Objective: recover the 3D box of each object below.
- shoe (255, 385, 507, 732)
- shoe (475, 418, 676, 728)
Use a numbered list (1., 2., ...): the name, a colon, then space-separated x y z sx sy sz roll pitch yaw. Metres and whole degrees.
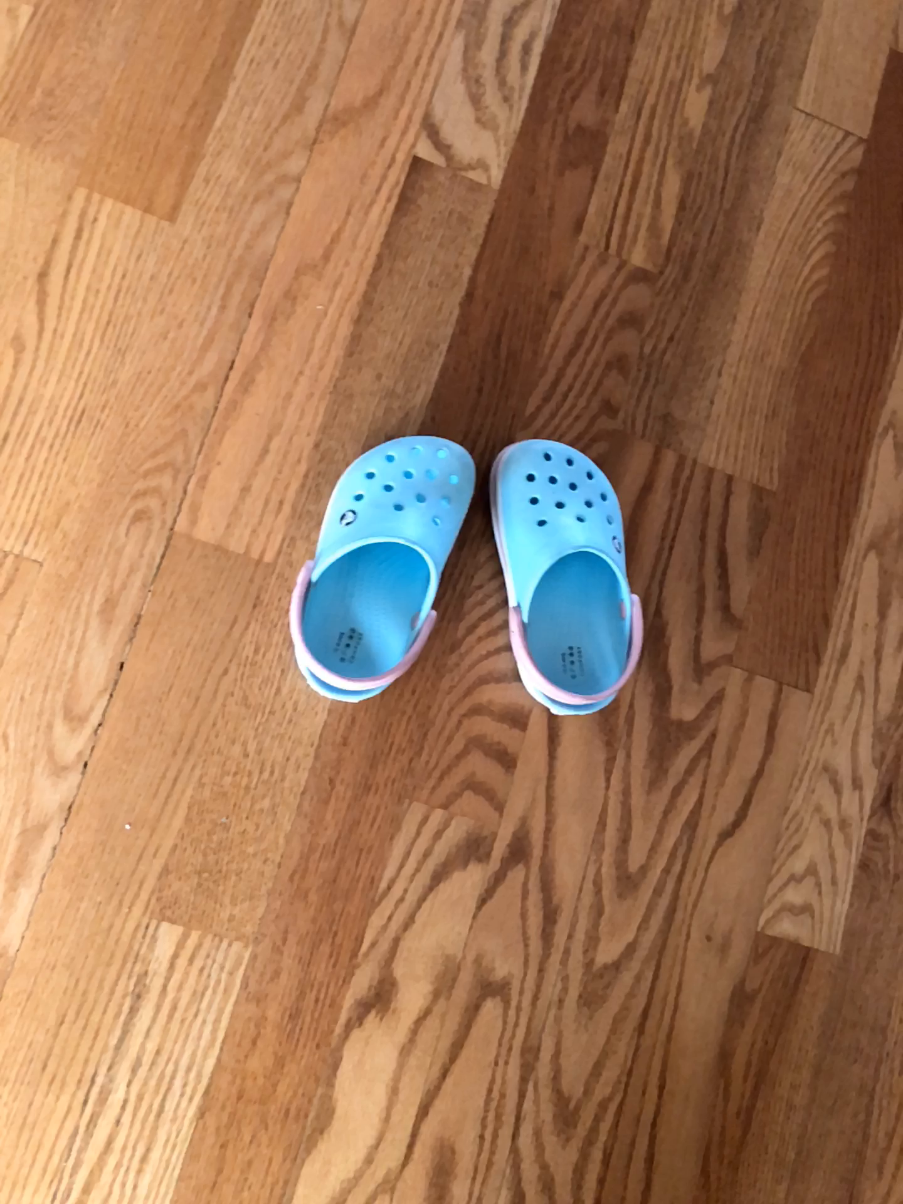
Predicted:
1. shoe: -0.039 -0.021 0.546 0.083 0.057 0.165 20 79 -9
2. shoe: 0.068 -0.016 0.565 0.083 0.048 0.165 -5 84 -13
